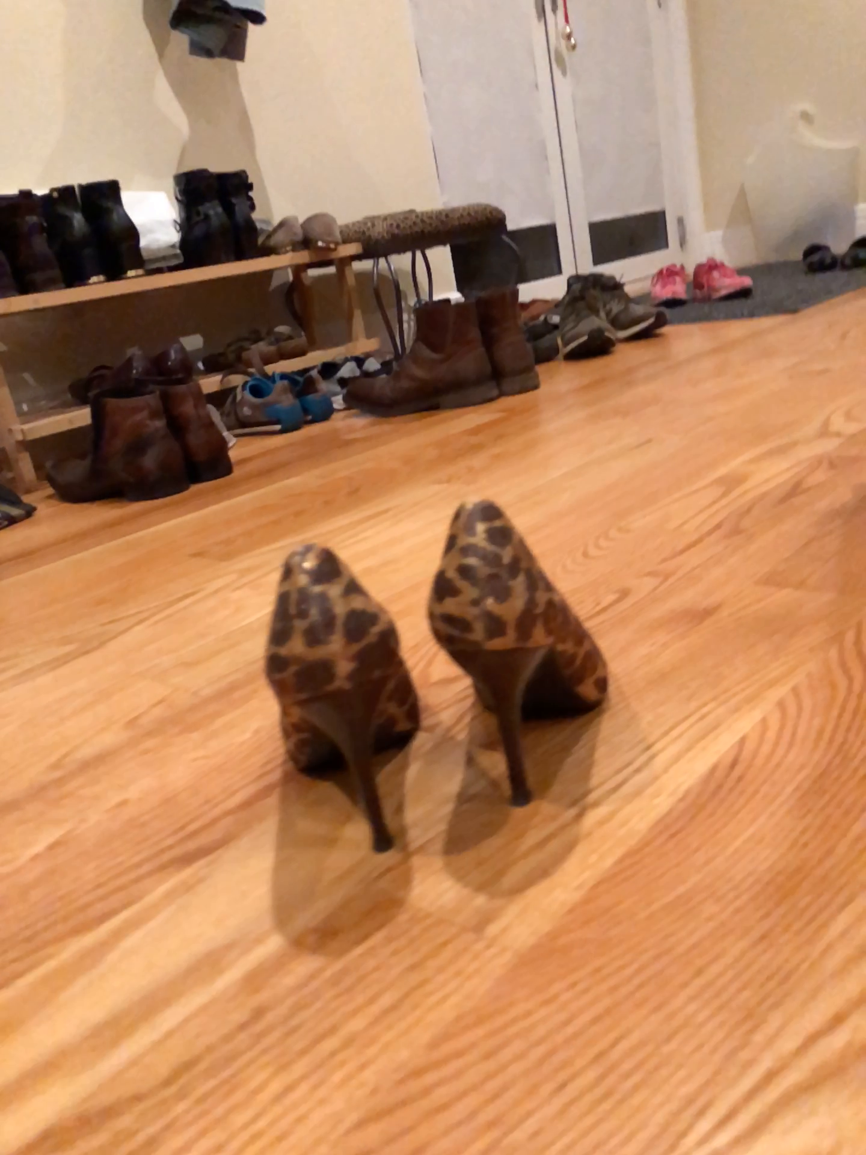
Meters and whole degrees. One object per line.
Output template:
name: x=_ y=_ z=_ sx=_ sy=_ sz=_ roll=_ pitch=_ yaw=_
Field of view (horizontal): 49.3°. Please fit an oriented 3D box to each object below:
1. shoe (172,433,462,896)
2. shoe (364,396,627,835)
shoe: x=-0.054 y=0.023 z=0.471 sx=0.083 sy=0.144 sz=0.219 roll=-12 pitch=17 yaw=-3
shoe: x=0.040 y=0.002 z=0.480 sx=0.083 sy=0.144 sz=0.219 roll=-8 pitch=18 yaw=10
